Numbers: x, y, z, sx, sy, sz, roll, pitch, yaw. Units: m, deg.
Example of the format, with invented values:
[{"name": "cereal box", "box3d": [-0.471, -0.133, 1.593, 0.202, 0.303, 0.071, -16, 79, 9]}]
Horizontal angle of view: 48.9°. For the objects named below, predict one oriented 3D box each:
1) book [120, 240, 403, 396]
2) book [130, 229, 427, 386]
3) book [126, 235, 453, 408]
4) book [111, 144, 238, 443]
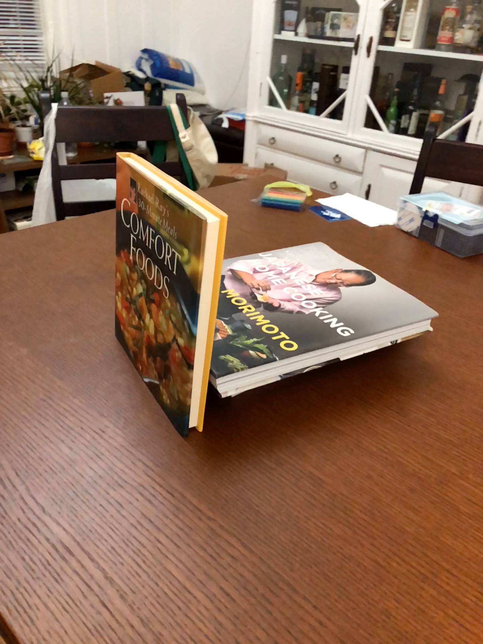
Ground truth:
[{"name": "book", "box3d": [0.025, -0.026, 0.675, 0.281, 0.030, 0.221, -20, 38, -34]}, {"name": "book", "box3d": [0.044, -0.039, 0.644, 0.281, 0.030, 0.221, -19, 37, -32]}, {"name": "book", "box3d": [0.047, -0.023, 0.587, 0.281, 0.030, 0.221, -15, 35, -28]}, {"name": "book", "box3d": [-0.076, -0.036, 0.504, 0.030, 0.209, 0.211, -10, 34, -28]}]
